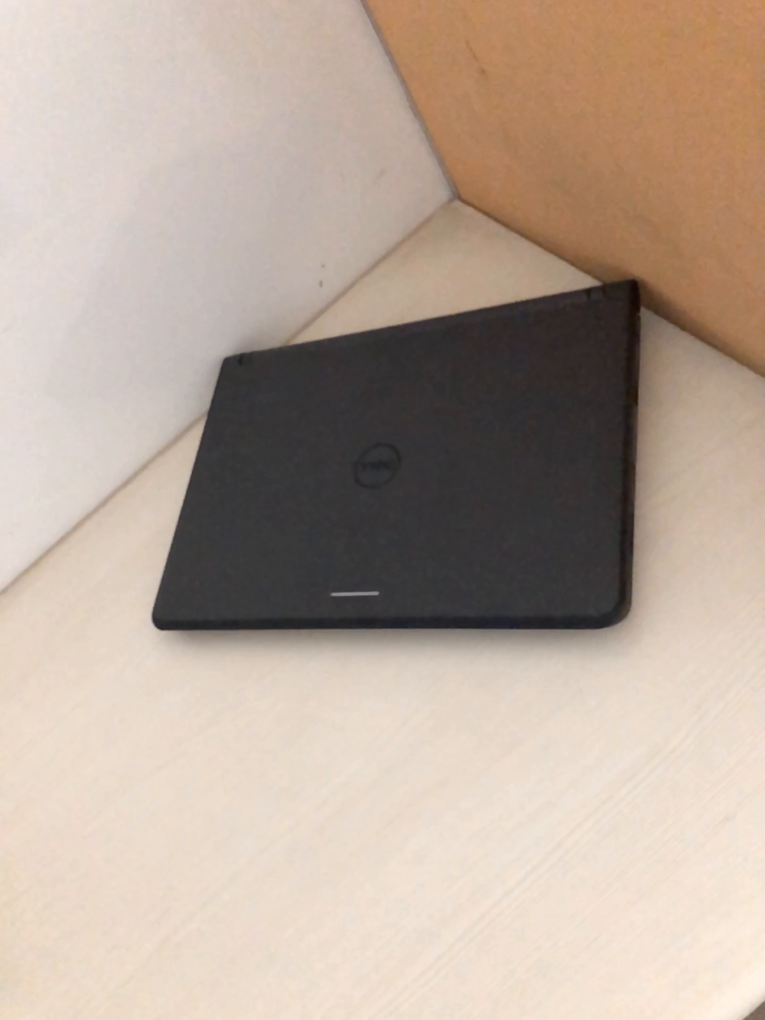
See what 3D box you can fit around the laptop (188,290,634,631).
[{"bbox_3d":[0.015,-0.031,0.555,0.291,0.007,0.228,-5,58,29],"label":"laptop"}]
